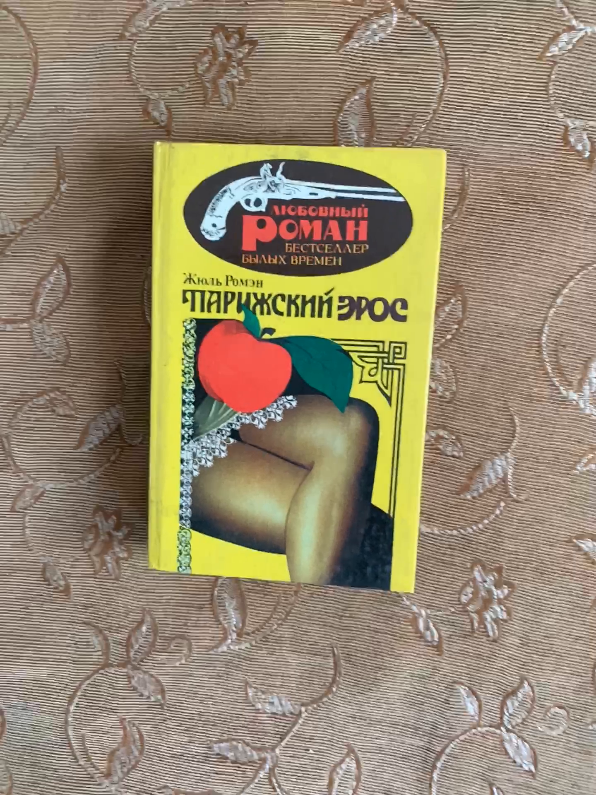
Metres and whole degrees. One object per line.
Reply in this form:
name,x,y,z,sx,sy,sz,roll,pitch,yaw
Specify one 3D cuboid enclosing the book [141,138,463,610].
book,-0.002,-0.009,0.282,0.130,0.040,0.196,3,98,4
